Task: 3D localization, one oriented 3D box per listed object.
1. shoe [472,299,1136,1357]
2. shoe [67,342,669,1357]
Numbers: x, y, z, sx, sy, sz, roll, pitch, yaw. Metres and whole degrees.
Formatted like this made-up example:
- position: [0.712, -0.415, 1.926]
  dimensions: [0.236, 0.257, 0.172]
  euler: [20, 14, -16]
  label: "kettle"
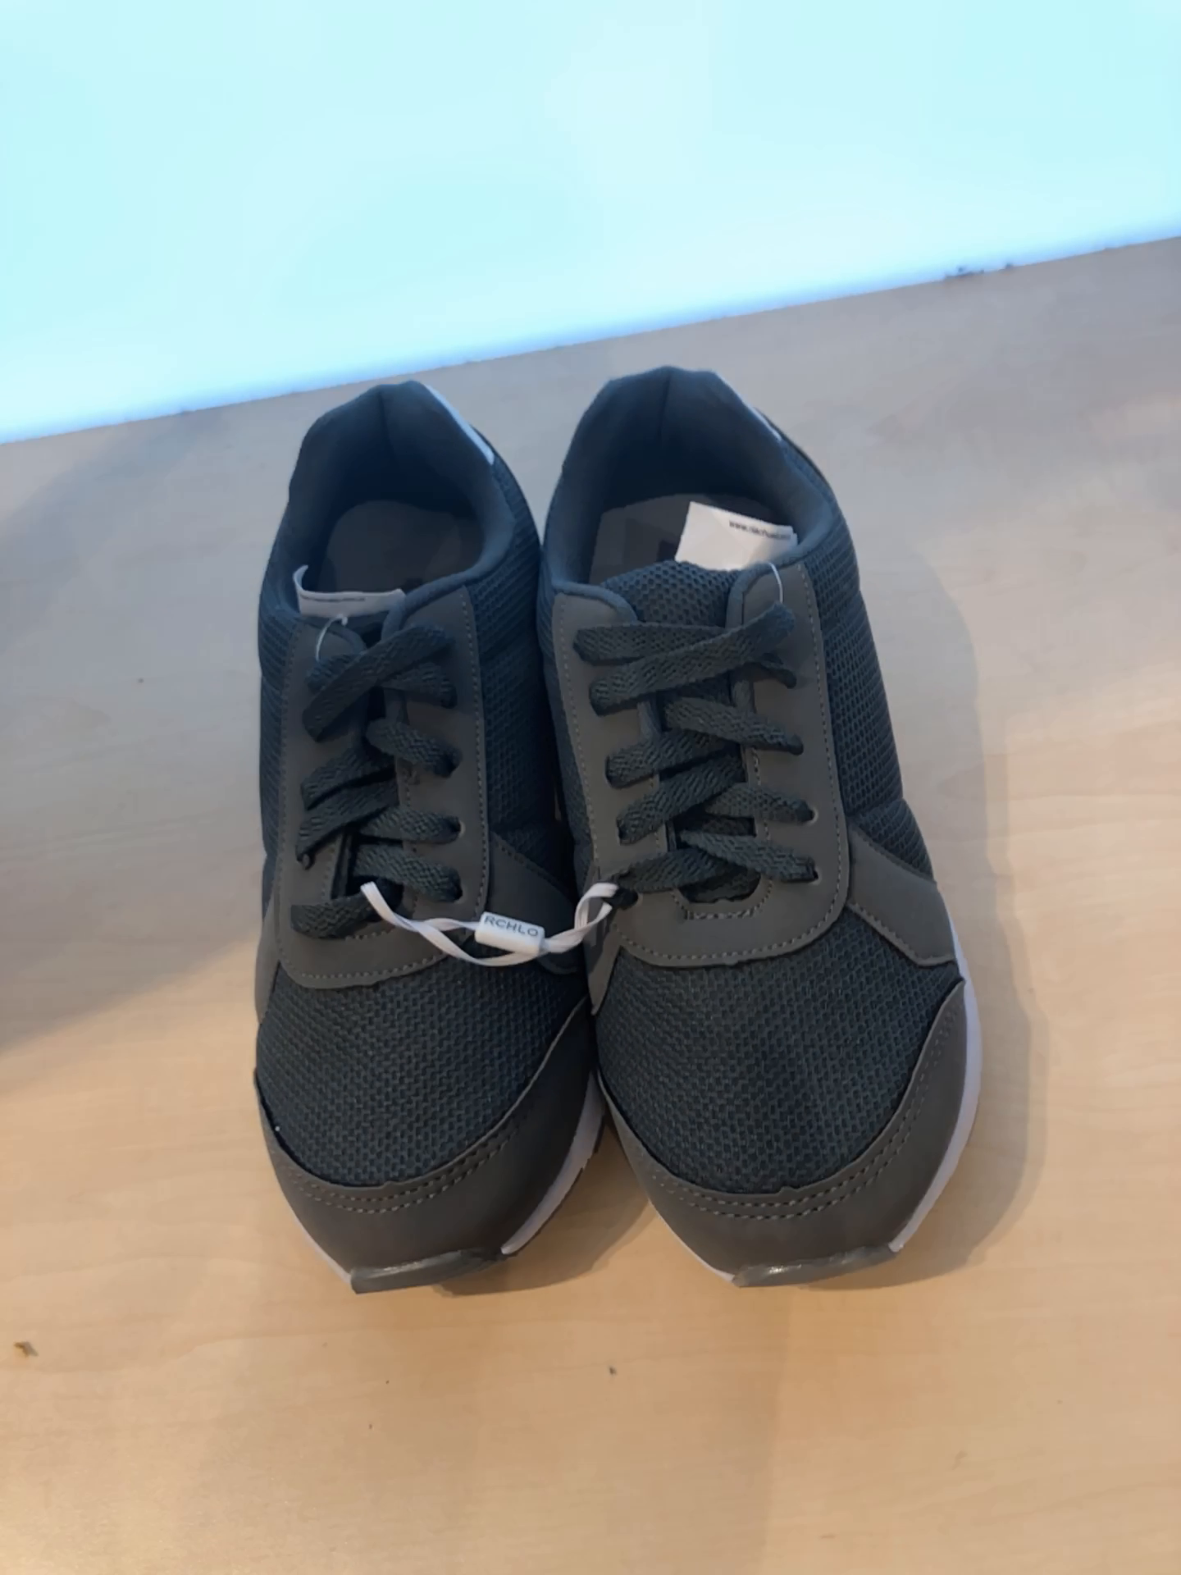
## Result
- position: [0.038, 0.002, 0.337]
  dimensions: [0.100, 0.099, 0.241]
  euler: [-11, 57, 4]
  label: "shoe"
- position: [-0.047, 0.009, 0.339]
  dimensions: [0.100, 0.099, 0.231]
  euler: [-9, 57, 5]
  label: "shoe"
